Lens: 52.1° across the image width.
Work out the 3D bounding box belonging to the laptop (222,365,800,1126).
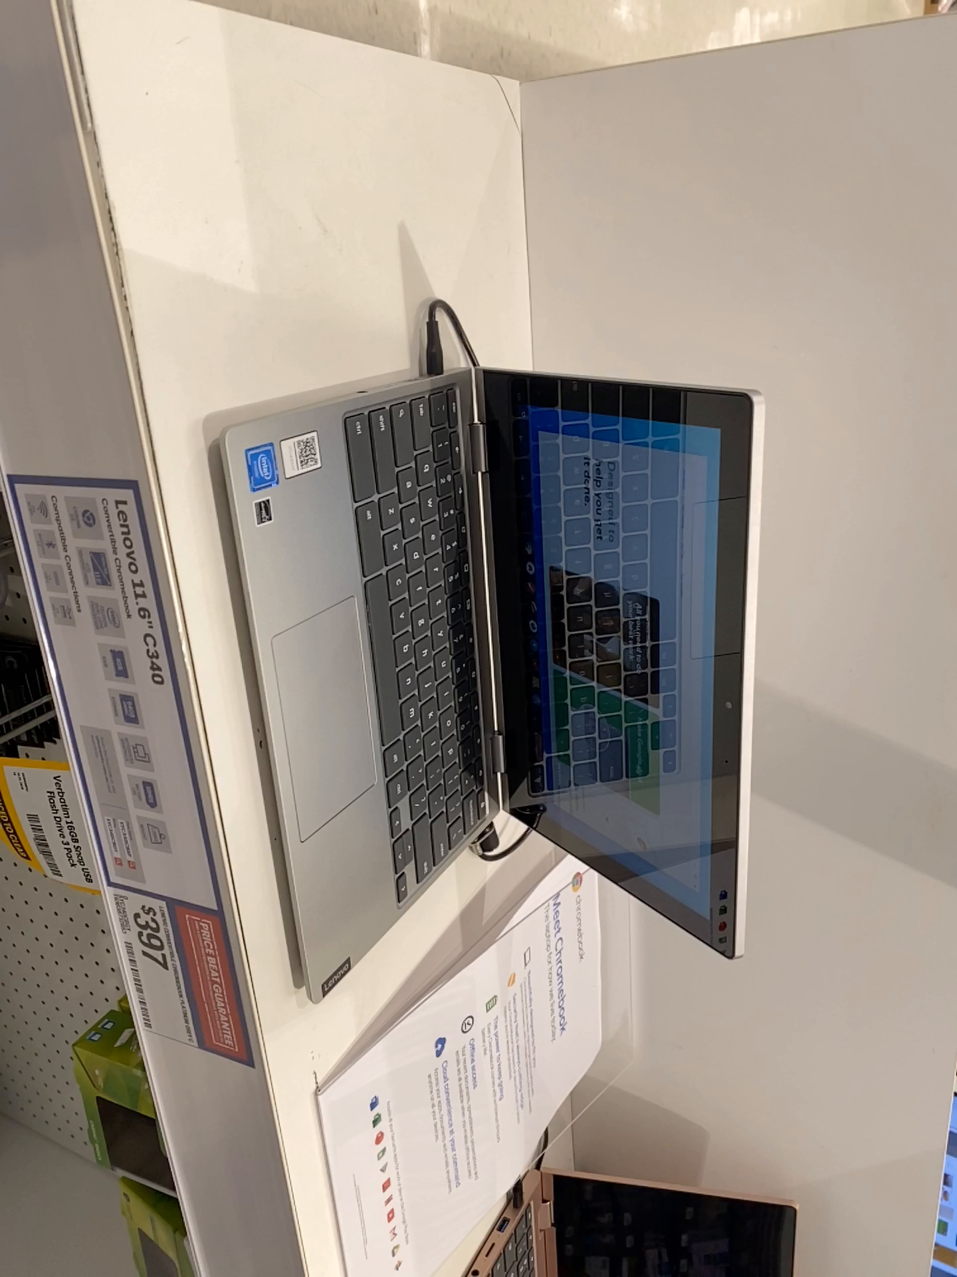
[{"bbox_3d":[0.035,0.026,0.481,0.201,0.180,0.284,-34,126,-53],"label":"laptop"}]
